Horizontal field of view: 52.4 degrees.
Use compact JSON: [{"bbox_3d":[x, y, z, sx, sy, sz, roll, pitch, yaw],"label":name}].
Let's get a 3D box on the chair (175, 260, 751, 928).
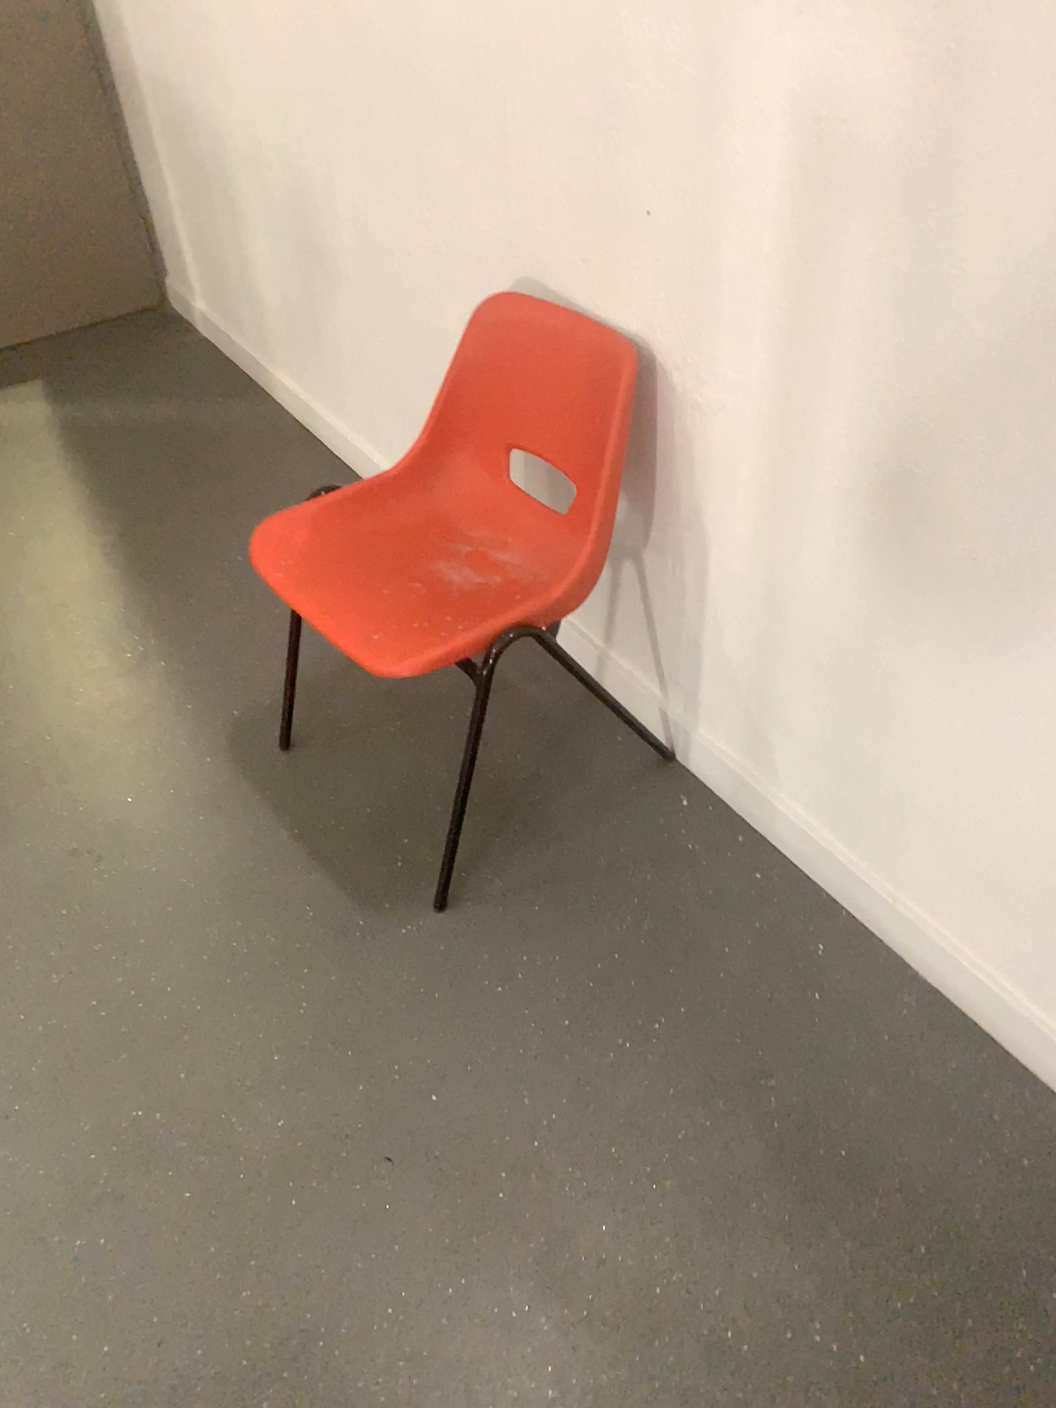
[{"bbox_3d":[-0.072,-0.186,1.679,0.592,0.713,0.513,-30,48,-26],"label":"chair"}]
